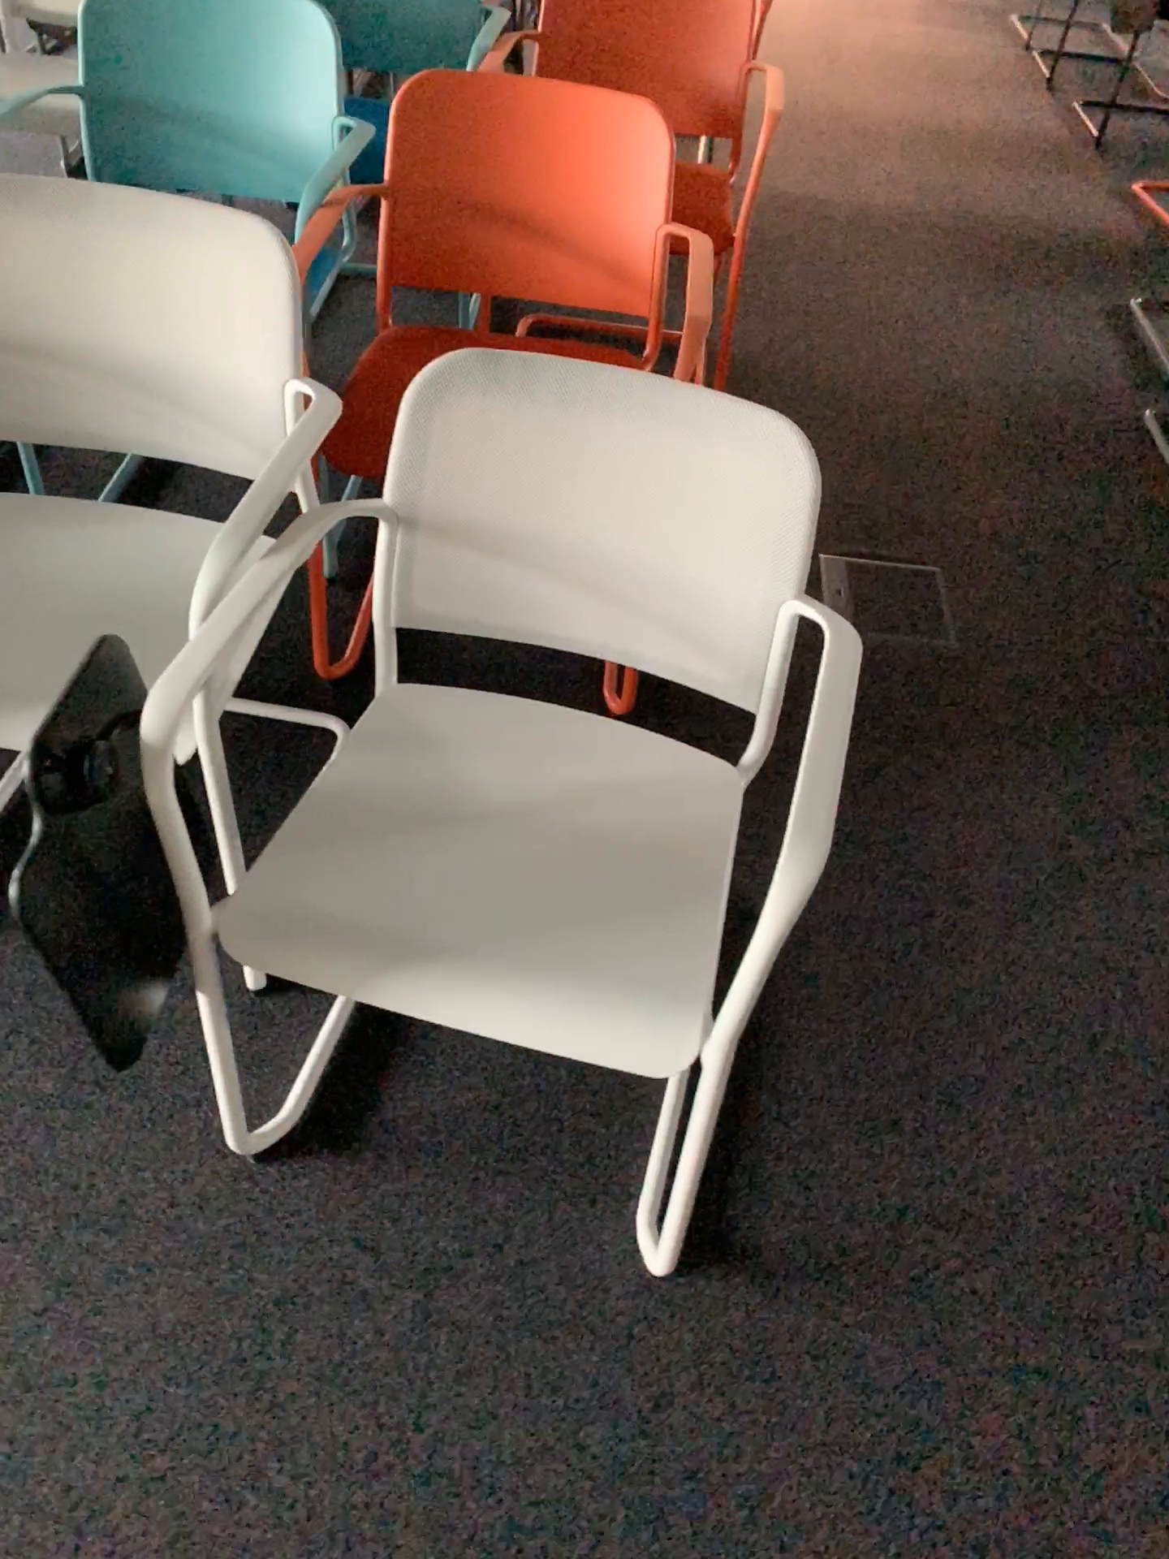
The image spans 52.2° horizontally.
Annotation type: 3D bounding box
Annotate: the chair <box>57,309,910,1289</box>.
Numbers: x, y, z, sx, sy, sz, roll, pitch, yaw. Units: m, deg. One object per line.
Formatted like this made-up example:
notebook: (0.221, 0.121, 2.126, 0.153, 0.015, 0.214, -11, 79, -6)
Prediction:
chair: (-0.059, 0.040, 1.255, 0.560, 0.756, 0.553, 14, 46, 7)
